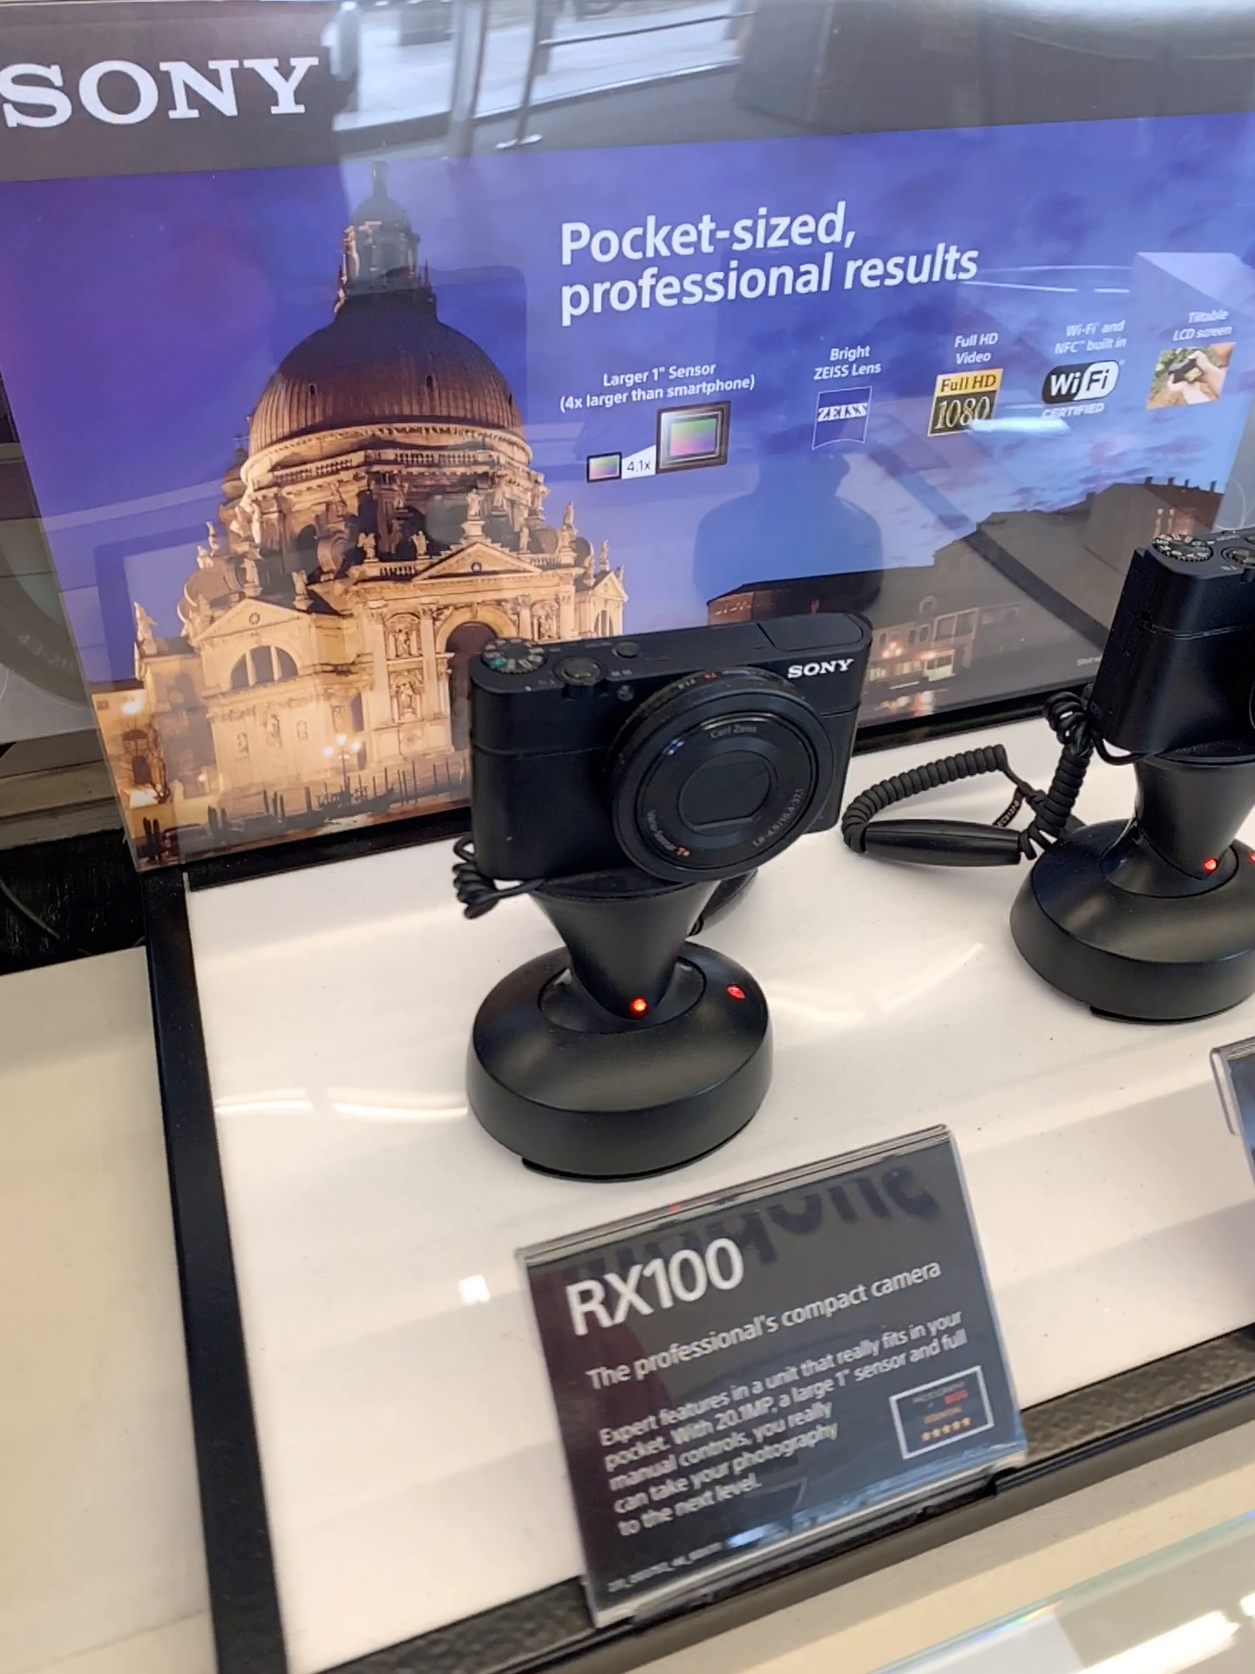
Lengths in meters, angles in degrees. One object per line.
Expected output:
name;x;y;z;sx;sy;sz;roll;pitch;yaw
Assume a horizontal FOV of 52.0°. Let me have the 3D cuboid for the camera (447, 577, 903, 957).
camera;0.010;-0.019;0.325;0.100;0.069;0.040;-11;40;-15
